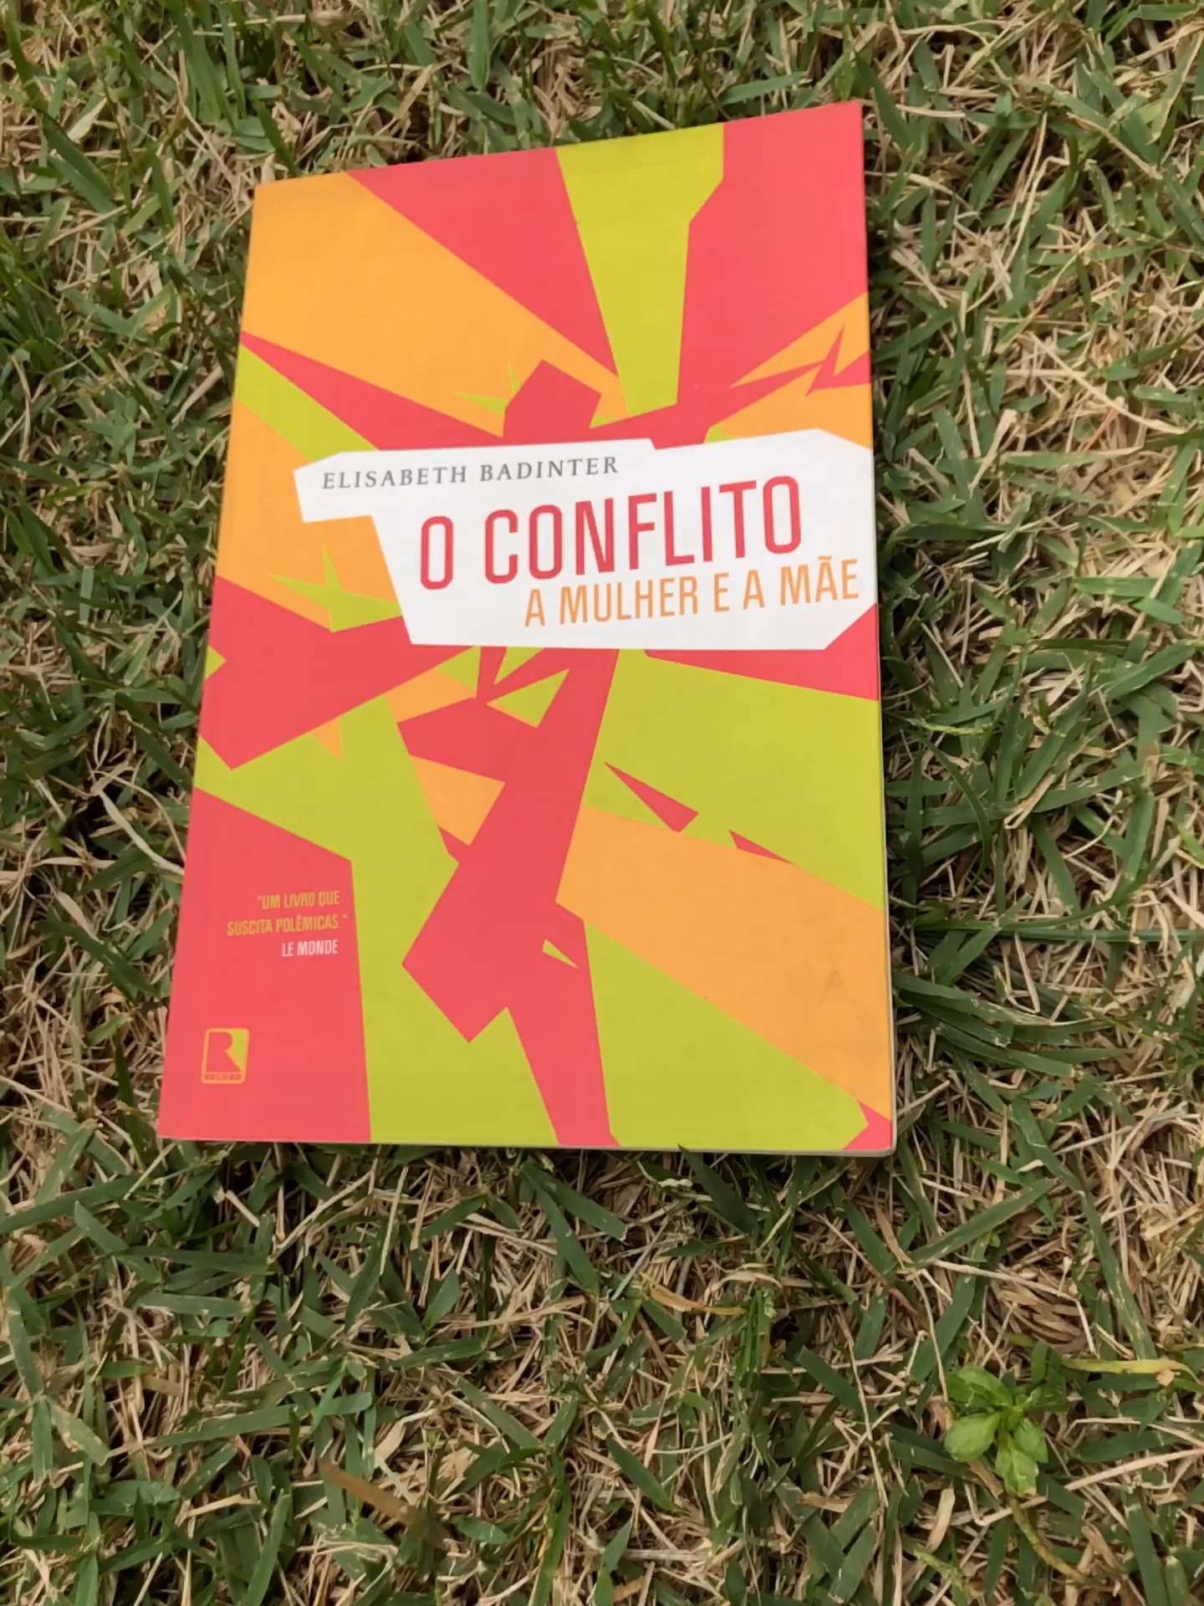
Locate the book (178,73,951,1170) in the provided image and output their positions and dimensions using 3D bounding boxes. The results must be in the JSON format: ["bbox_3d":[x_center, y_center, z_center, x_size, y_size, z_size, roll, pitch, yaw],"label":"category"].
[{"bbox_3d":[-0.005,-0.037,0.253,0.130,0.020,0.200,-2,75,13],"label":"book"}]
